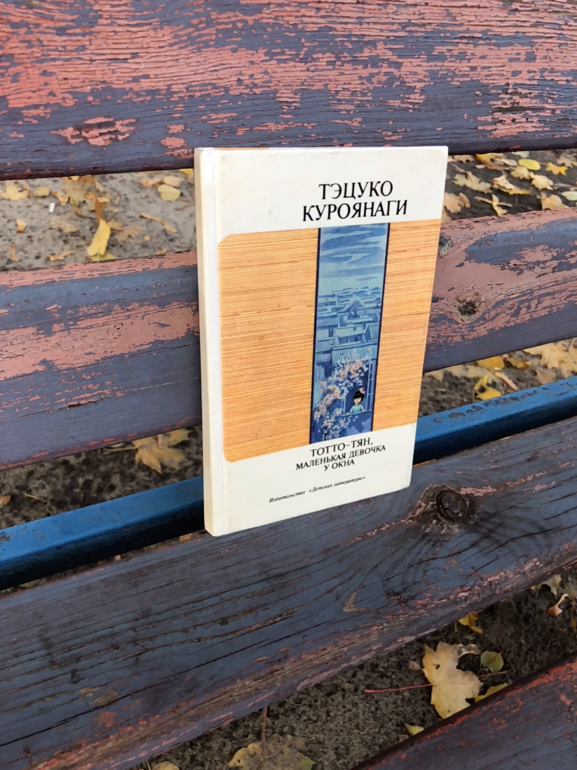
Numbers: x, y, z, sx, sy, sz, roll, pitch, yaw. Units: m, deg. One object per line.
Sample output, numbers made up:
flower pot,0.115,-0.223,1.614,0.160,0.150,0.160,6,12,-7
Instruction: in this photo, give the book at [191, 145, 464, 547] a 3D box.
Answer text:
book,0.019,-0.018,0.331,0.134,0.198,0.016,-10,28,-25
